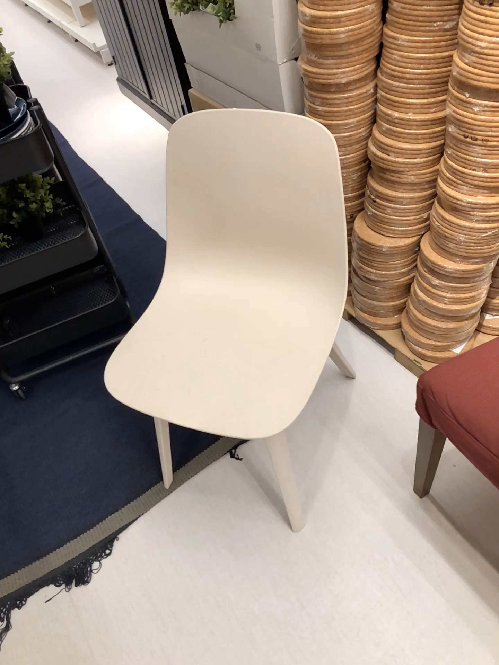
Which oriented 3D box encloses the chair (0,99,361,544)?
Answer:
[{"bbox_3d":[-0.075,-0.009,1.097,0.451,0.696,0.492,10,53,22],"label":"chair"}]
